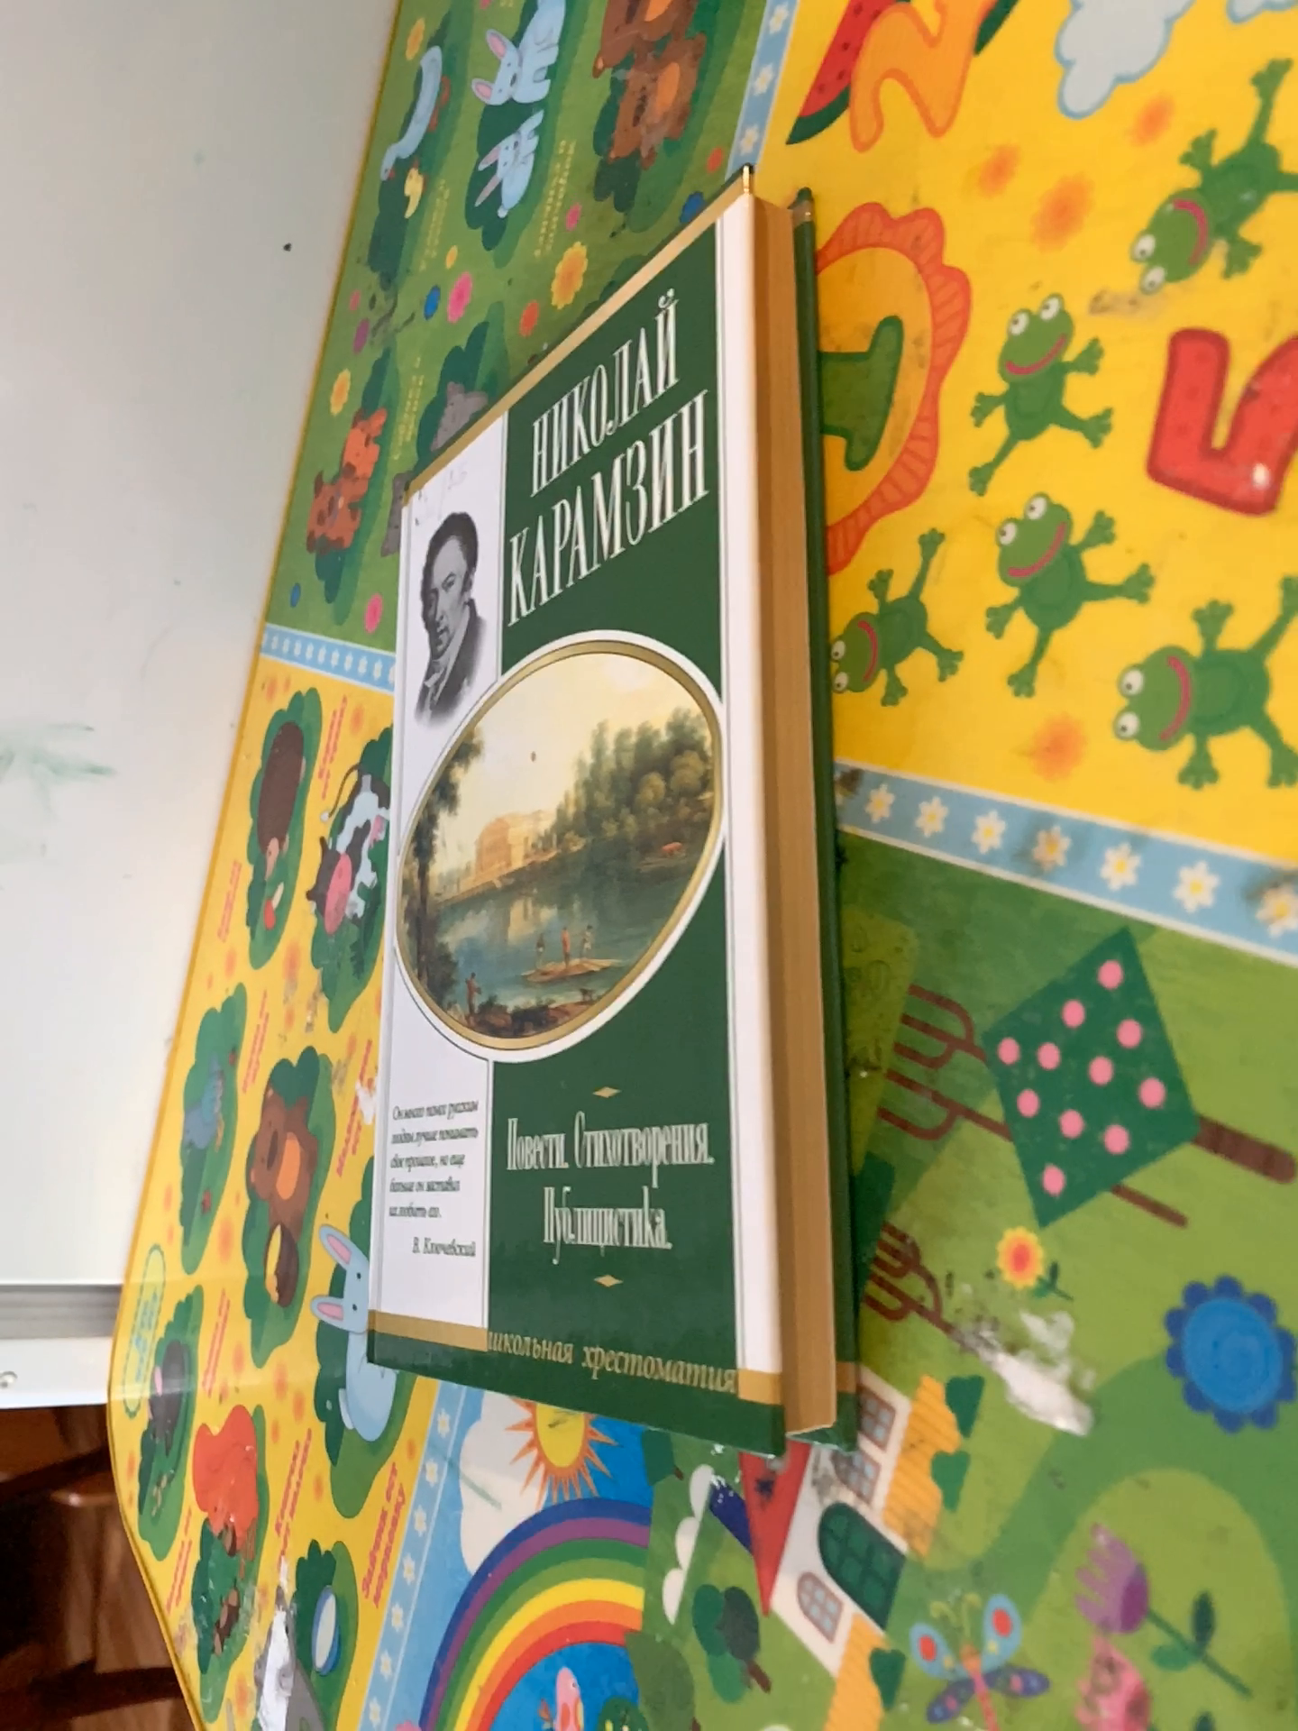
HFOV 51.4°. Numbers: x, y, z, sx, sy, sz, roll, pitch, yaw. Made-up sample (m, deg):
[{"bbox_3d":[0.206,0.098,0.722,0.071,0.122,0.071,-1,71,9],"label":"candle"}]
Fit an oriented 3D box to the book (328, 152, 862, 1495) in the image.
[{"bbox_3d":[-0.019,-0.003,0.251,0.137,0.020,0.197,-19,67,53],"label":"book"}]
